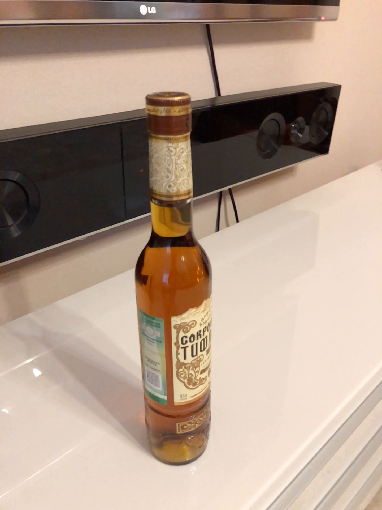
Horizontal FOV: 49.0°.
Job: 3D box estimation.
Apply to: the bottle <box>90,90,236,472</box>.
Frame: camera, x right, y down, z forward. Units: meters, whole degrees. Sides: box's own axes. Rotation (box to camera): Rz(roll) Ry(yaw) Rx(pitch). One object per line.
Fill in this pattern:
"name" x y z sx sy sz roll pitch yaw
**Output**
"bottle" -0.013 0.036 0.341 0.070 0.308 0.070 0 28 0
